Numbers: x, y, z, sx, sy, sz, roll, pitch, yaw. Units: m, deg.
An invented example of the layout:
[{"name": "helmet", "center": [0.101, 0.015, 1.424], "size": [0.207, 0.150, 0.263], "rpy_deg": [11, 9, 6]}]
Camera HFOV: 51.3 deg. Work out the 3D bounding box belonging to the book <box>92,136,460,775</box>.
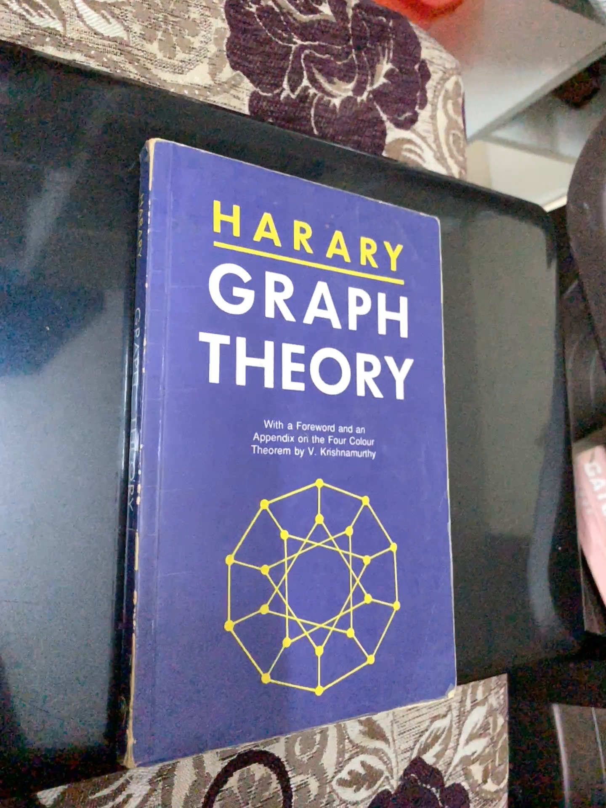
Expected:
[{"name": "book", "center": [-0.001, 0.015, 0.242], "size": [0.141, 0.020, 0.200], "rpy_deg": [5, 81, -30]}]
